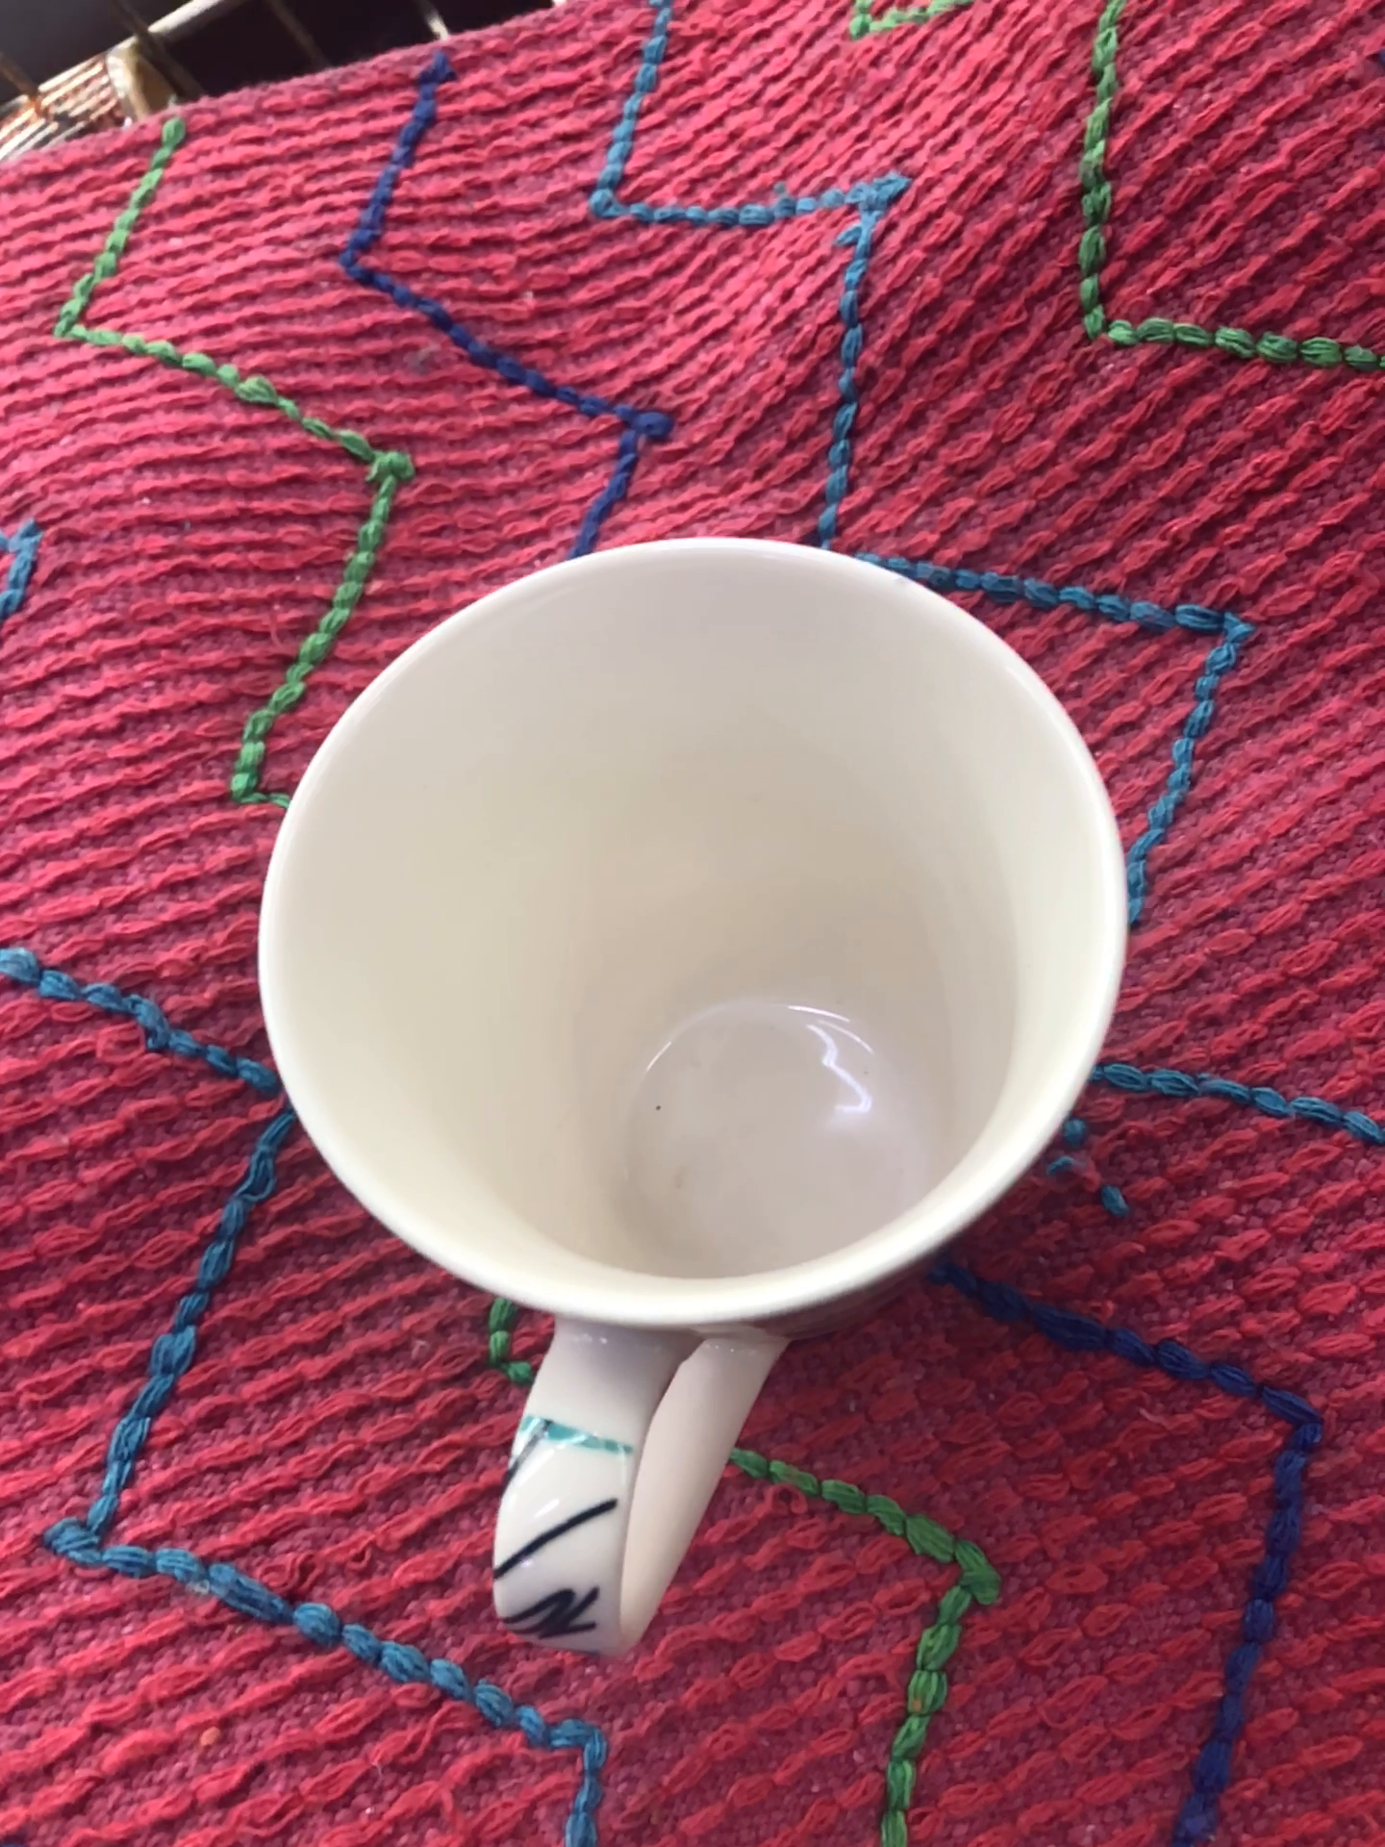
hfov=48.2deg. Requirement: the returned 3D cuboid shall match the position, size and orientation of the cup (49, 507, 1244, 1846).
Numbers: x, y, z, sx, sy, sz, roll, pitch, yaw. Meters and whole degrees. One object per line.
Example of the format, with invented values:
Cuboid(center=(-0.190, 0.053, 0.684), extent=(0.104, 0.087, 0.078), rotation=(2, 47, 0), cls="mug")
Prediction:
Cuboid(center=(0.005, 0.025, 0.171), extent=(0.090, 0.080, 0.110), rotation=(5, 76, 12), cls="cup")
